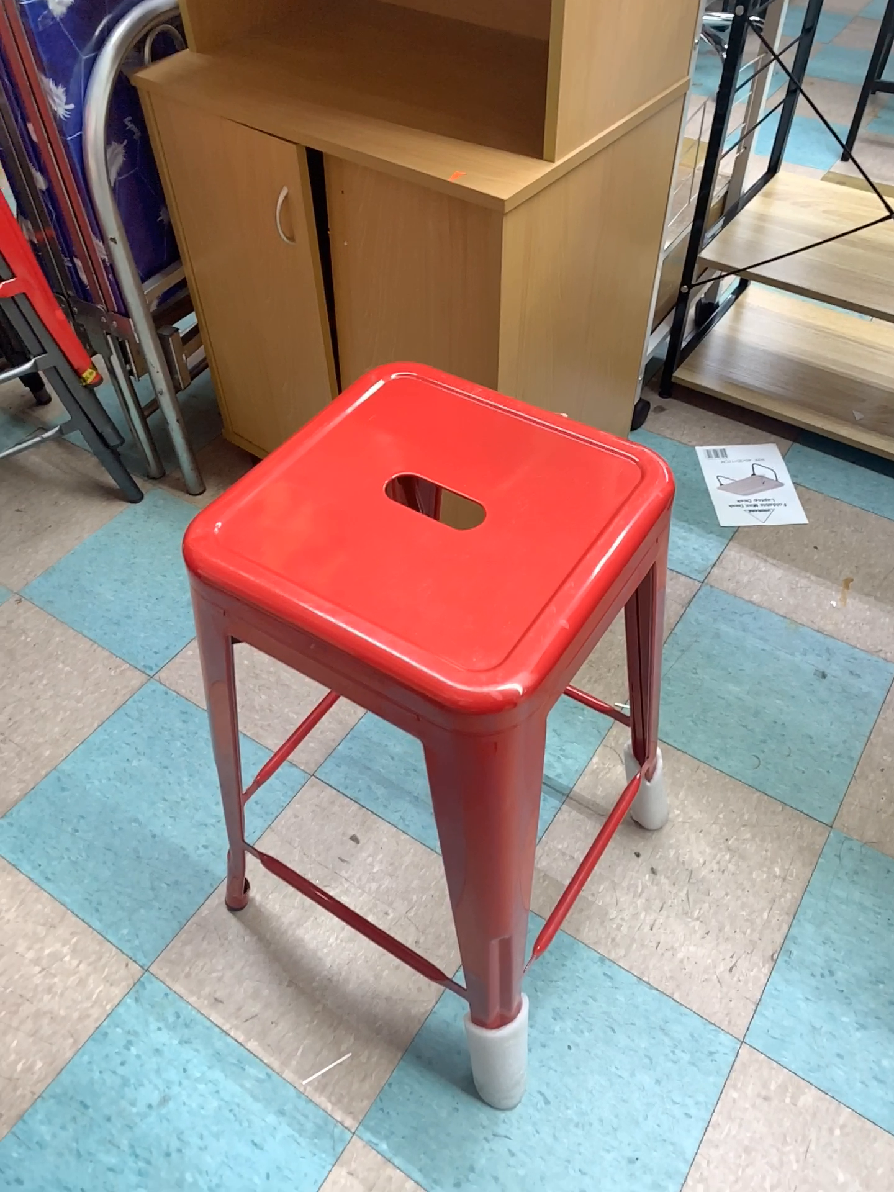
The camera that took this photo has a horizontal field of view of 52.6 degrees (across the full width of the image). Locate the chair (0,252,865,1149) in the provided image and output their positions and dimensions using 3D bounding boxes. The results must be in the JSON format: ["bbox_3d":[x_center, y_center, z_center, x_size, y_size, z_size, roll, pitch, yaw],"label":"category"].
[{"bbox_3d":[0.010,0.111,0.852,0.435,0.598,0.439,26,55,22],"label":"chair"}]
